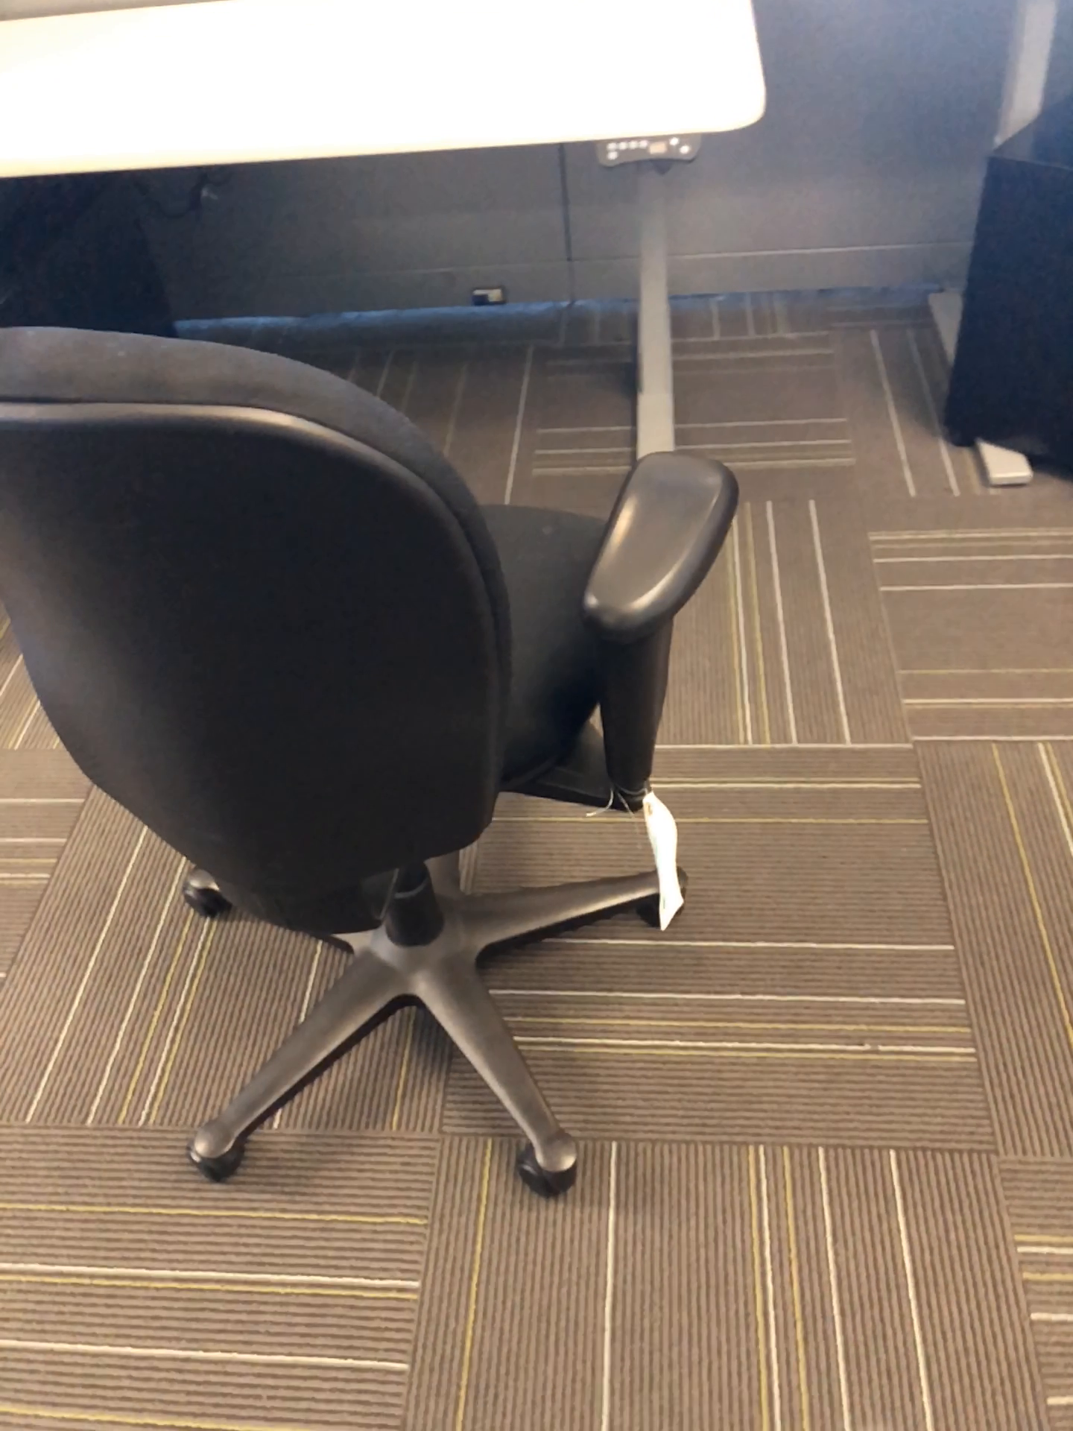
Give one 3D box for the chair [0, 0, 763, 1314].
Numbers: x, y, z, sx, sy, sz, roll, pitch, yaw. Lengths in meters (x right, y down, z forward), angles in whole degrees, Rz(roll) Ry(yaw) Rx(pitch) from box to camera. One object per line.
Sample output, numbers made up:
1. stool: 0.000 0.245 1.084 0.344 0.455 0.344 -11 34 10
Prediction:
1. chair: -0.236 -0.081 1.131 0.701 0.995 0.682 12 47 19
